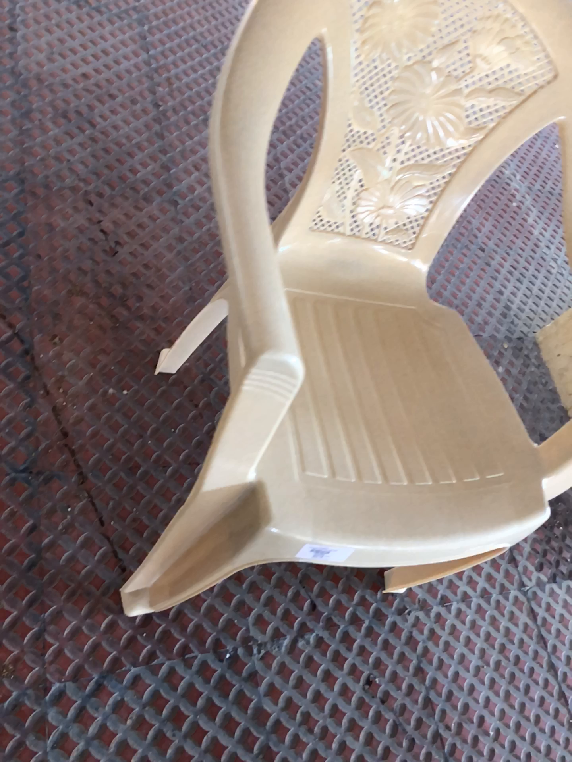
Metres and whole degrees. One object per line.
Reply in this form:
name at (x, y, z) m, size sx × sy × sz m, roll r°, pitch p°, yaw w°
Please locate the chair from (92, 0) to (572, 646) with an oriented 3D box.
chair at (0.094, -0.069, 0.838) m, size 0.532 × 0.805 × 0.612 m, roll 4°, pitch 59°, yaw -27°
